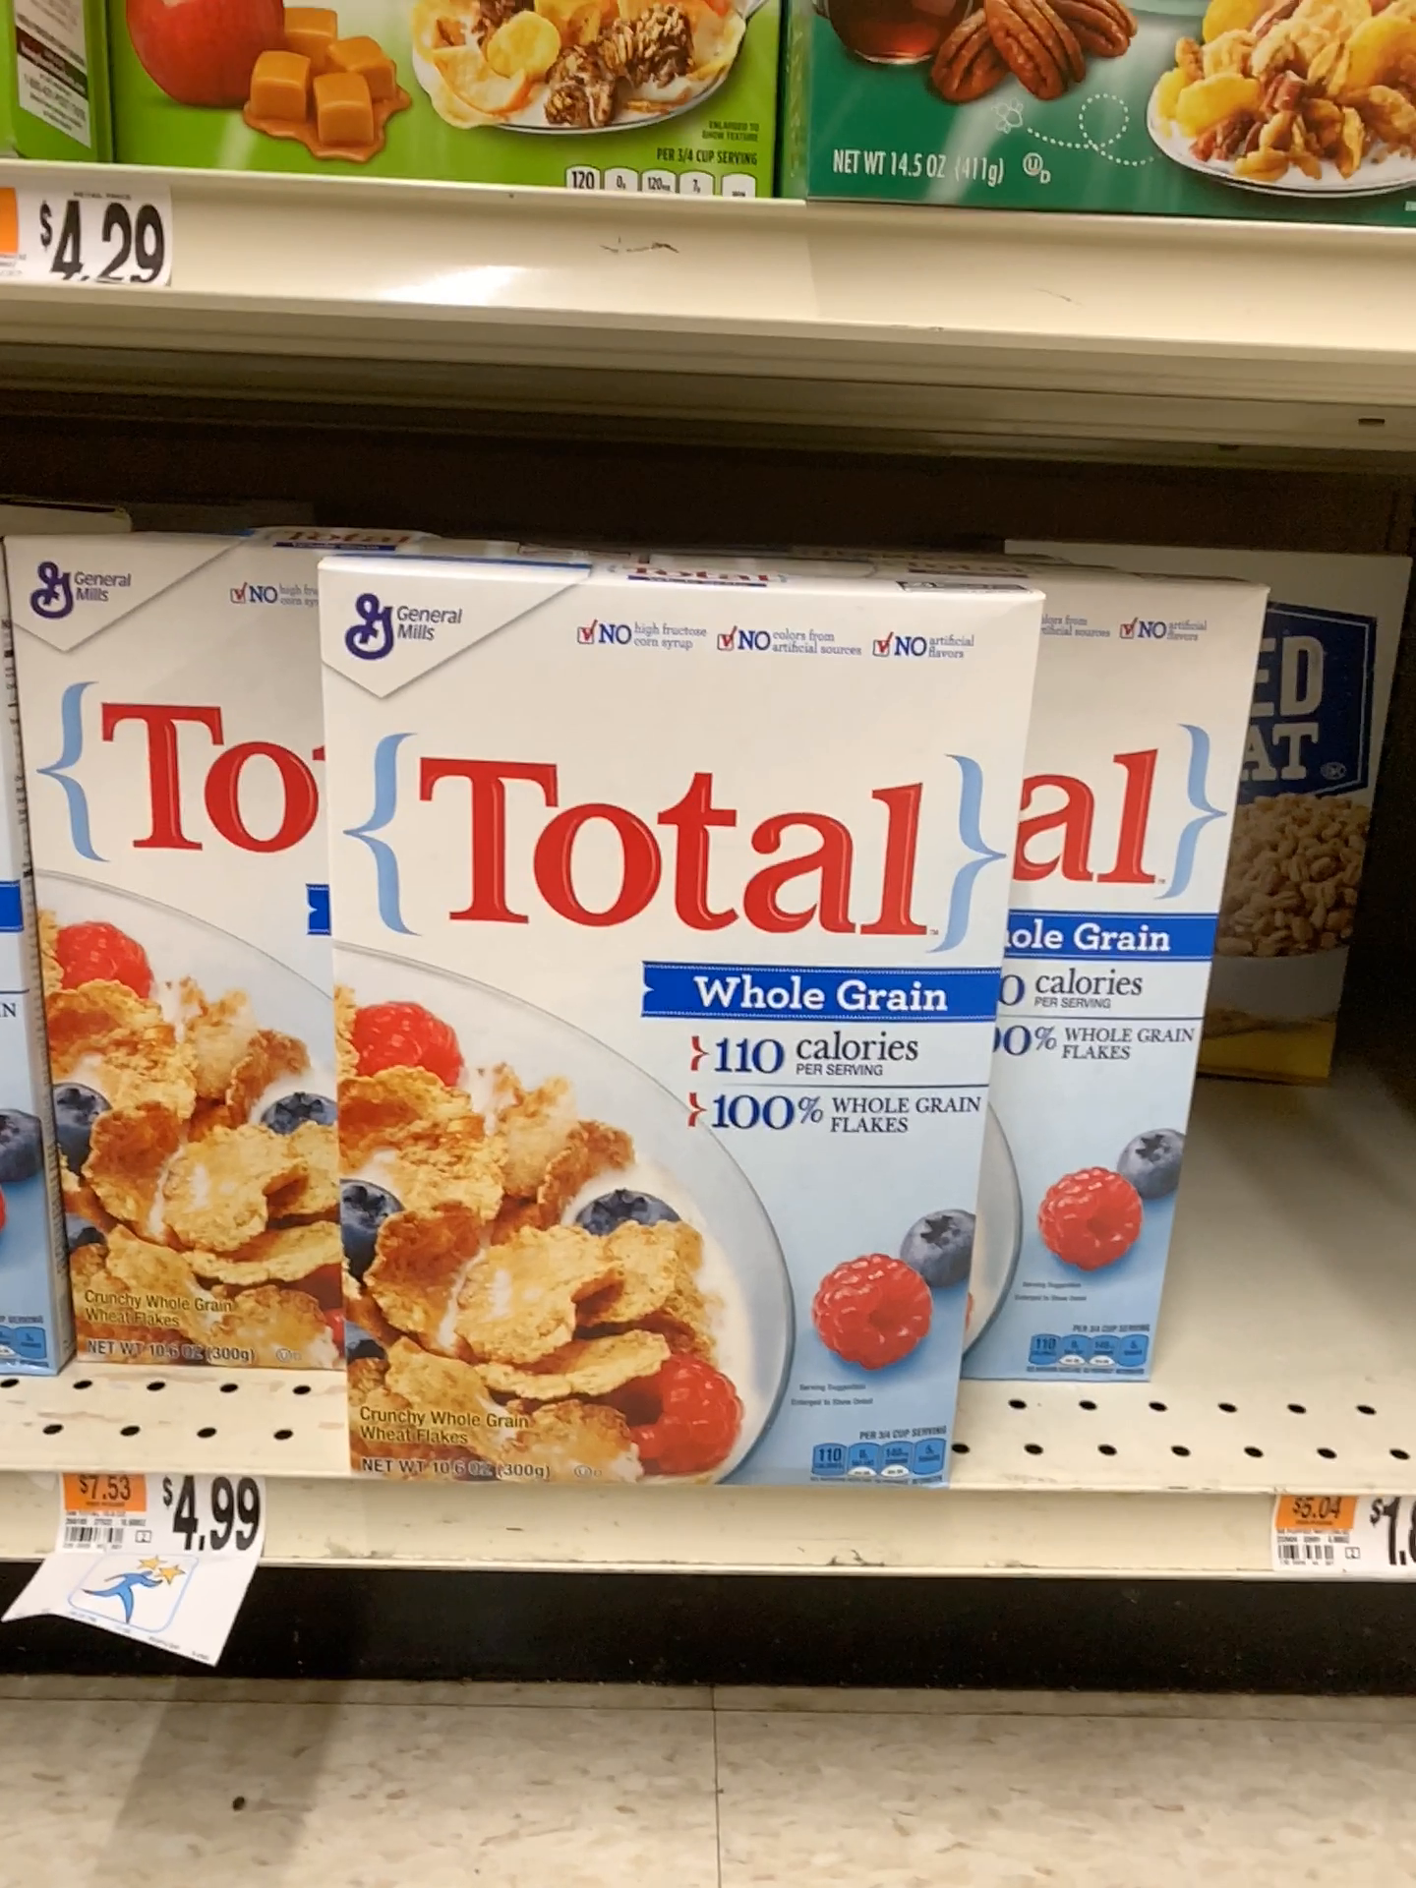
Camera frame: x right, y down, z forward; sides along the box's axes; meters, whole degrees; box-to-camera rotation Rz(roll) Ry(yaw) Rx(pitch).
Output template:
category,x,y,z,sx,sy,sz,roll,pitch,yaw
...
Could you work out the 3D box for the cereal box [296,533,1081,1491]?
category,x,y,z,sx,sy,sz,roll,pitch,yaw
cereal box,-0.010,0.027,0.435,0.200,0.279,0.050,2,17,-1
